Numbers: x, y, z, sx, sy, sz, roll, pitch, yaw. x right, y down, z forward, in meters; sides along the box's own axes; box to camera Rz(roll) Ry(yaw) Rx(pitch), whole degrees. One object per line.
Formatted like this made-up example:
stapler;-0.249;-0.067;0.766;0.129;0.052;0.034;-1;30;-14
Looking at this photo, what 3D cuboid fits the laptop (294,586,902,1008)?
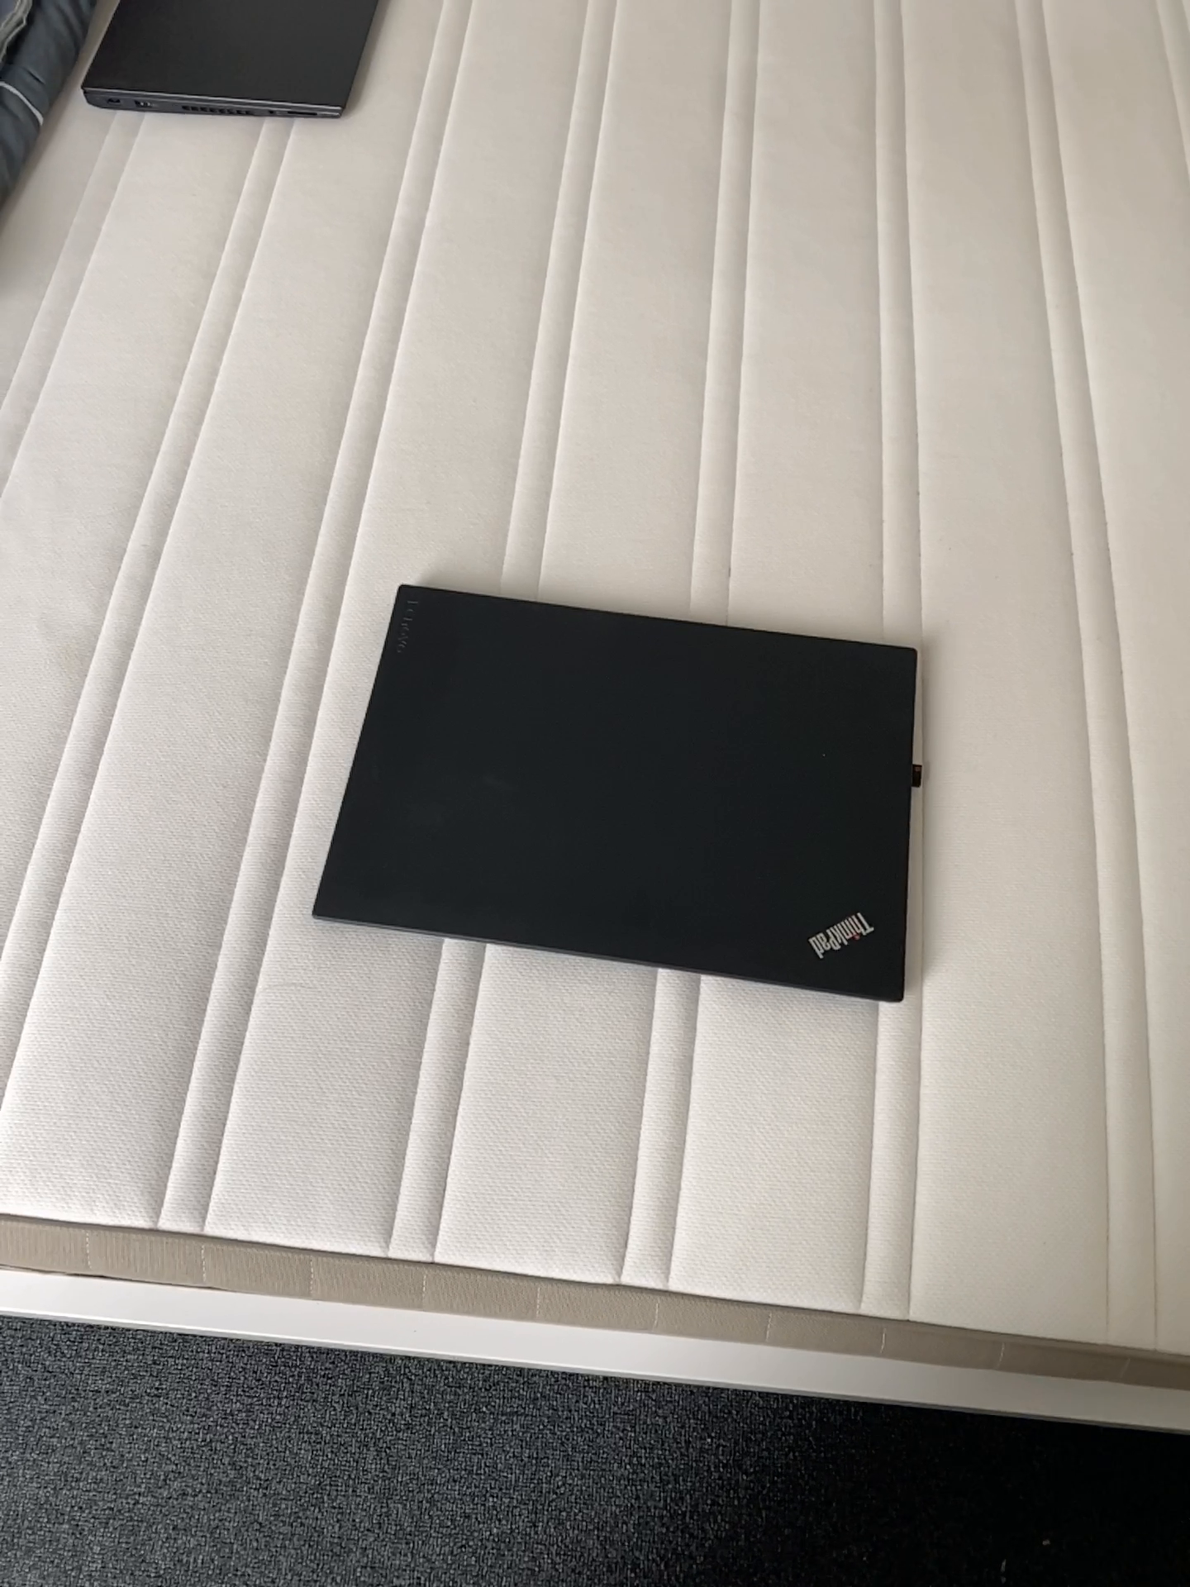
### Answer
laptop;0.009;-0.006;0.629;0.288;0.005;0.193;8;67;3
